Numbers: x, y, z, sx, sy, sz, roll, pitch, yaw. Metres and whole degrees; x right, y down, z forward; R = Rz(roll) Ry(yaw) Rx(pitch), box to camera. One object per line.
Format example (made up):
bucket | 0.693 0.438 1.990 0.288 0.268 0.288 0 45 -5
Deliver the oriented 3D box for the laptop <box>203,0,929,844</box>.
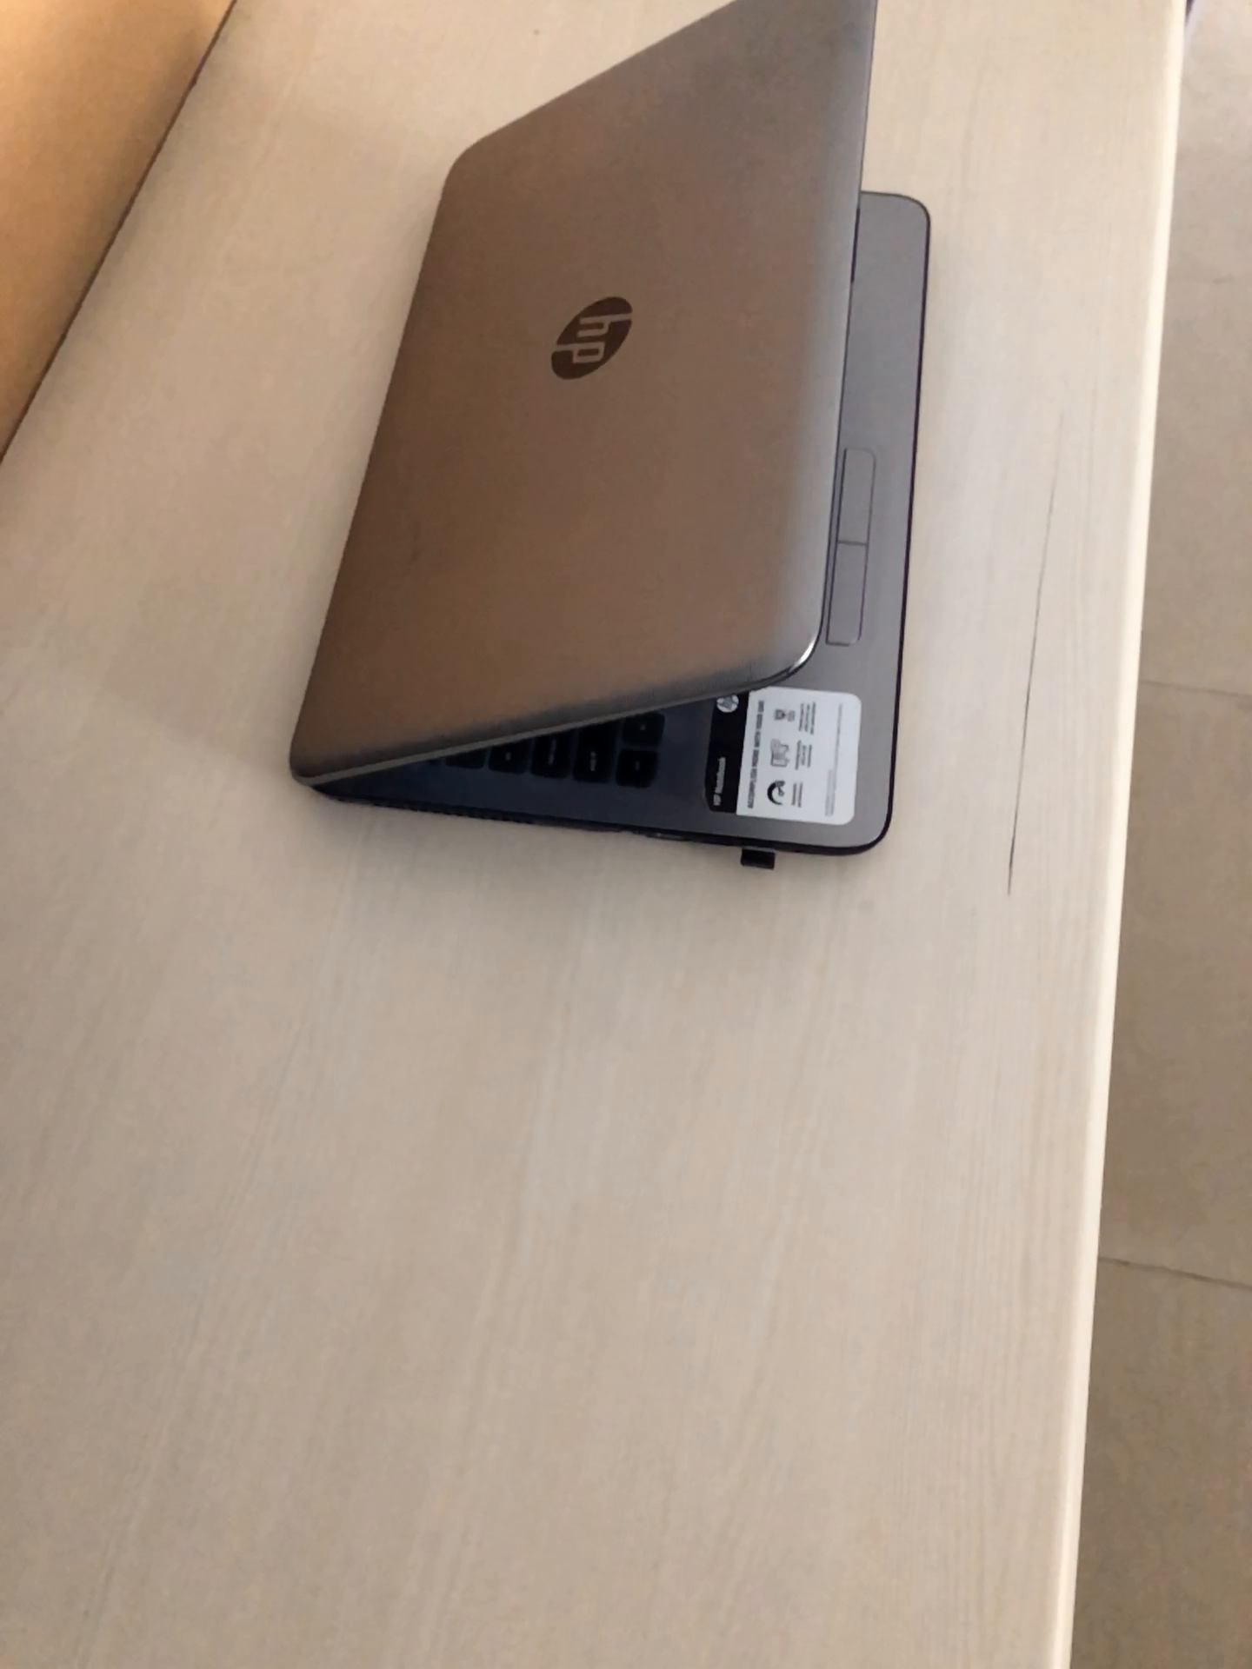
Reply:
laptop | -0.001 -0.200 0.594 0.238 0.133 0.365 5 63 6
